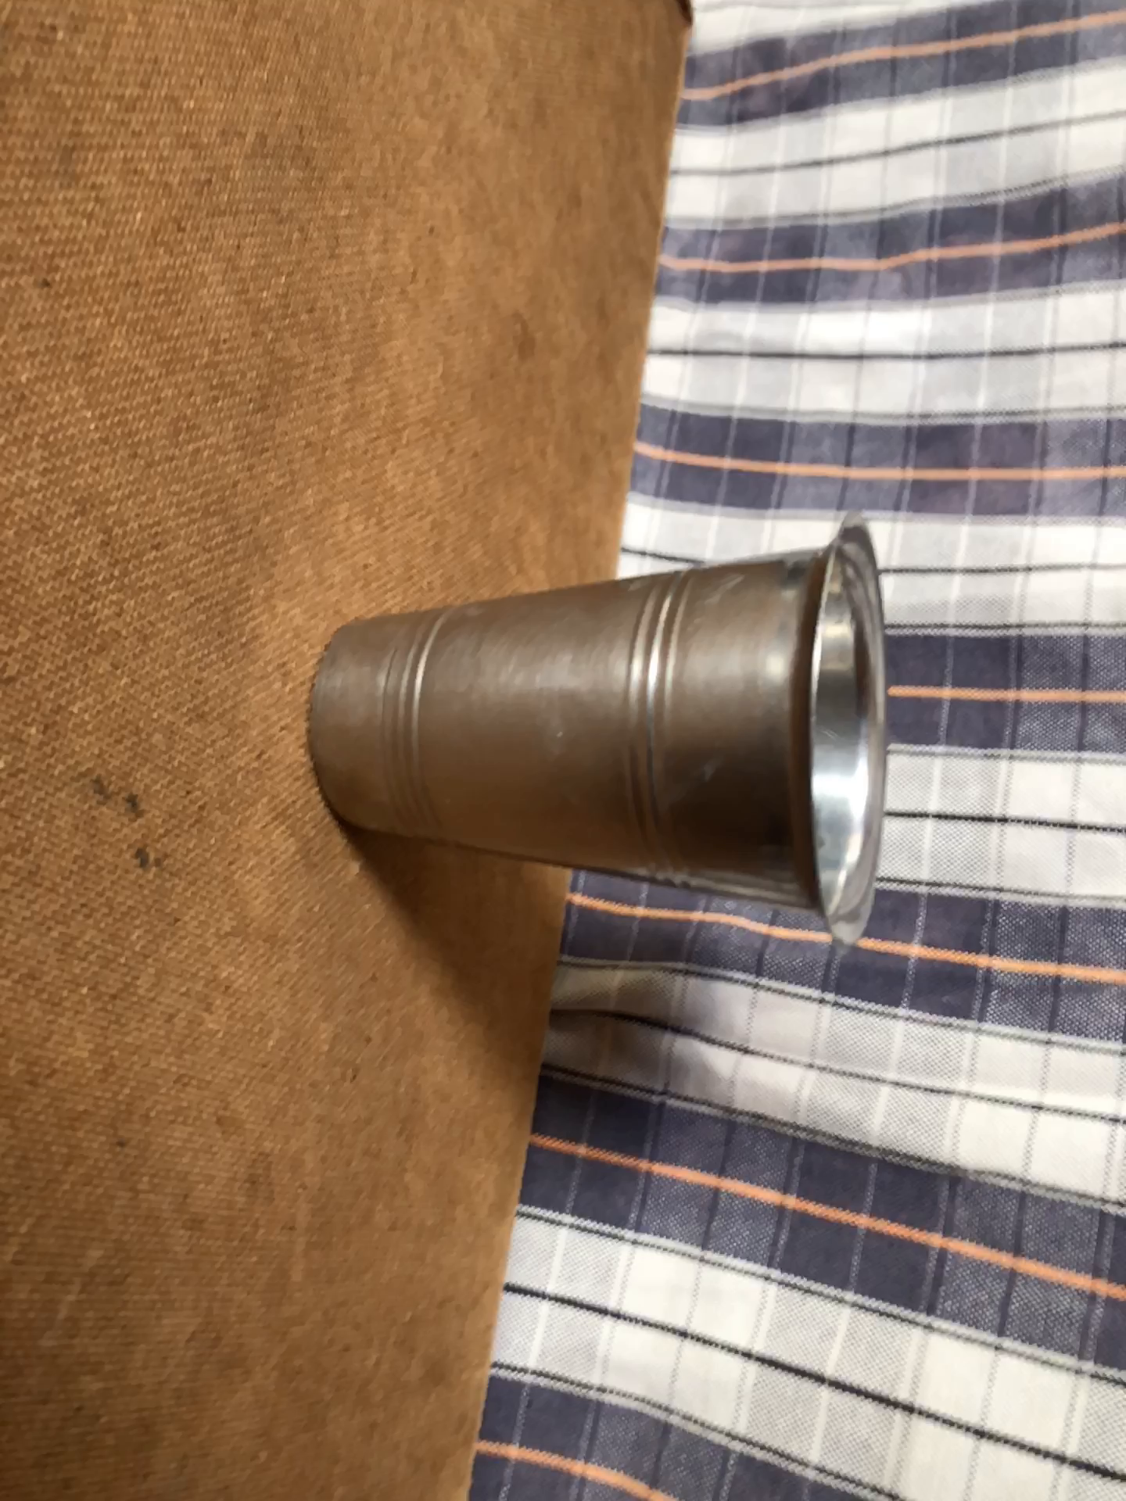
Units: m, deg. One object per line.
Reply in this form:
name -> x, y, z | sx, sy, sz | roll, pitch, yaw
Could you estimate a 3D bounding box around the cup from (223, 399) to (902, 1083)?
cup -> 0.011, -0.002, 0.236 | 0.080, 0.089, 0.090 | -66, 148, -46
